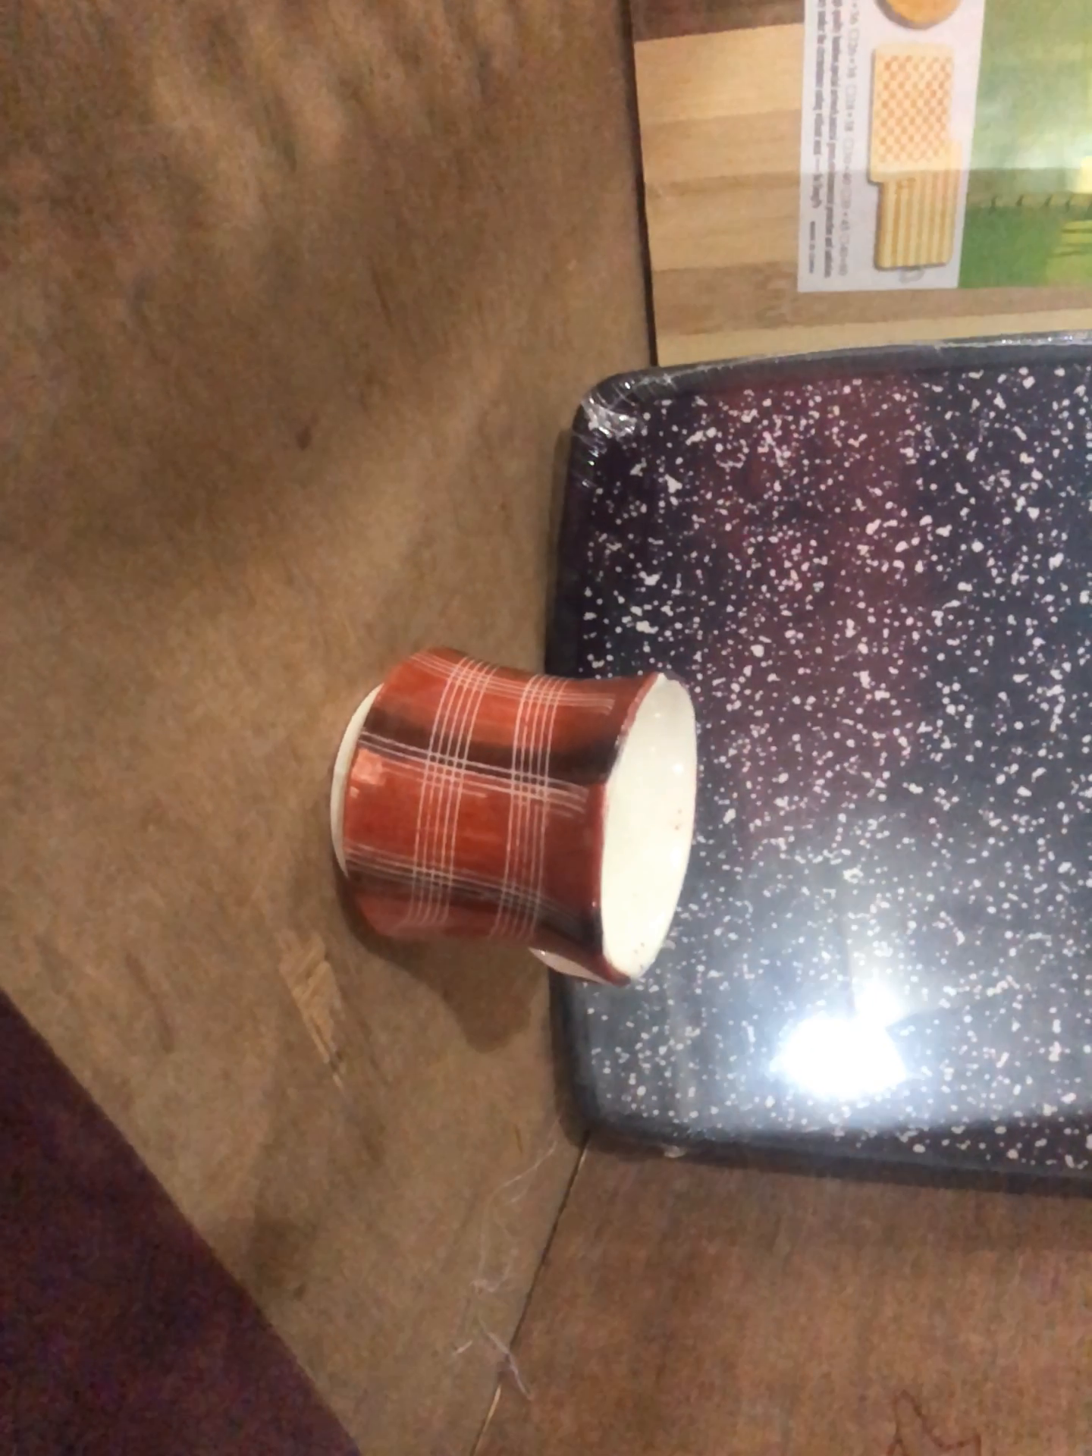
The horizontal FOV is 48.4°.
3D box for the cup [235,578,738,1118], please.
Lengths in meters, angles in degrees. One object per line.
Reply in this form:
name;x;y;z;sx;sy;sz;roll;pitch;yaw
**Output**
cup;-0.004;0.025;0.244;0.090;0.060;0.060;69;35;-47
